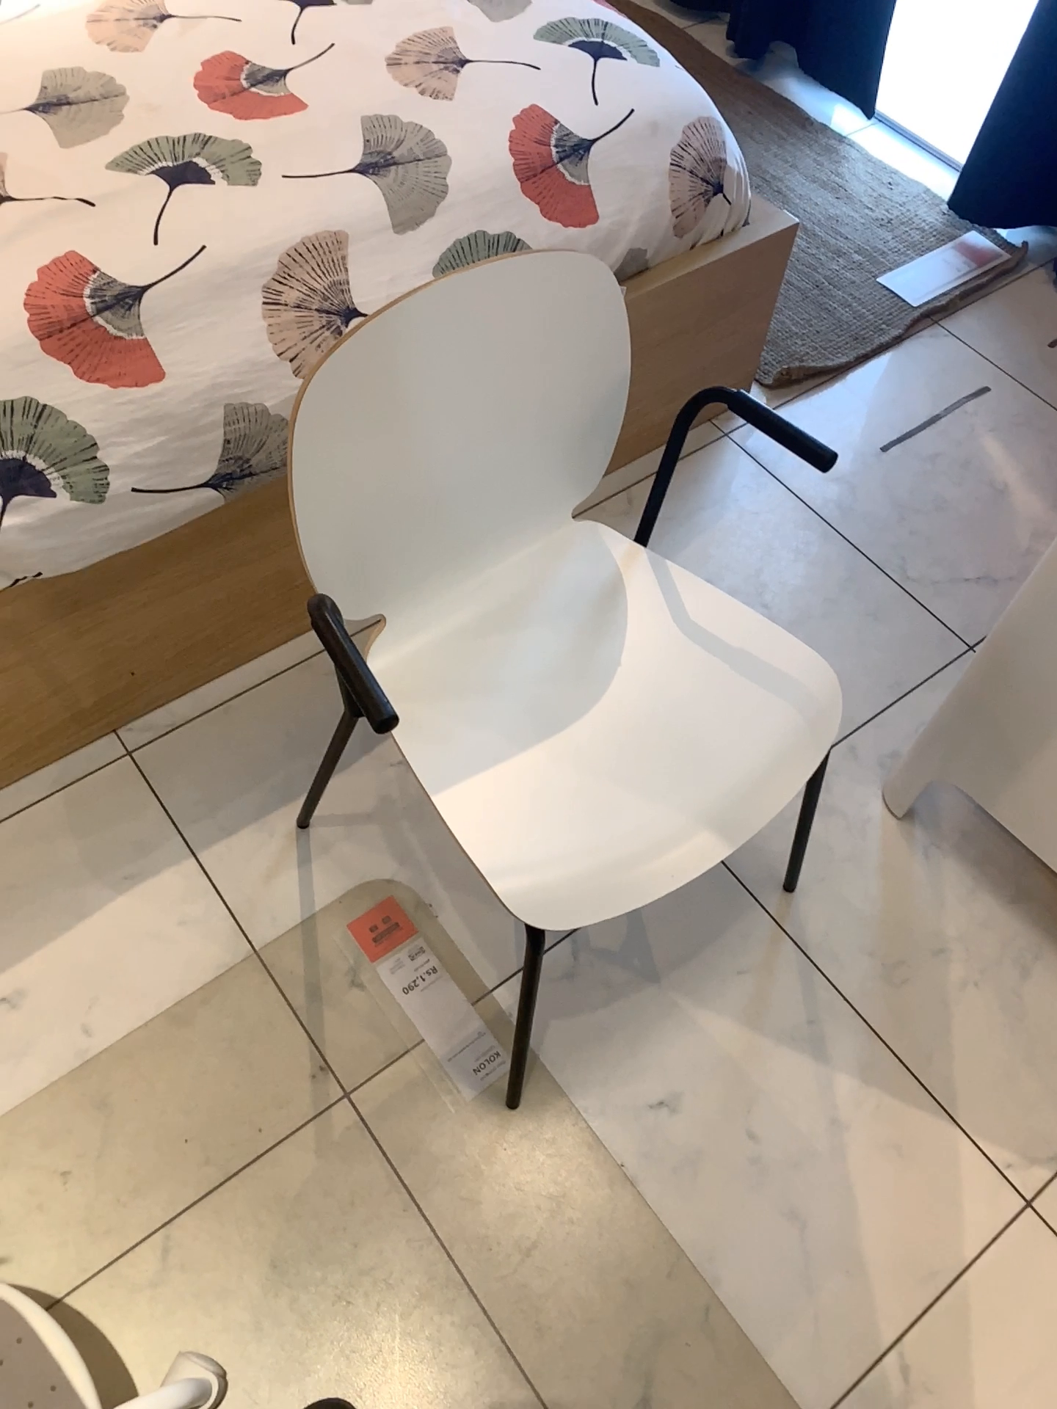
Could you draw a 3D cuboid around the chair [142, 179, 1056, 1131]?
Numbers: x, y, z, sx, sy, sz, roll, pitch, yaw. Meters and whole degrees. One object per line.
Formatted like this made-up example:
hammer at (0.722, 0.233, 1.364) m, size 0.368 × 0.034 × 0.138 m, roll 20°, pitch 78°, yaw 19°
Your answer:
chair at (0.048, -0.018, 1.156) m, size 0.551 × 0.698 × 0.541 m, roll -31°, pitch 64°, yaw -22°
